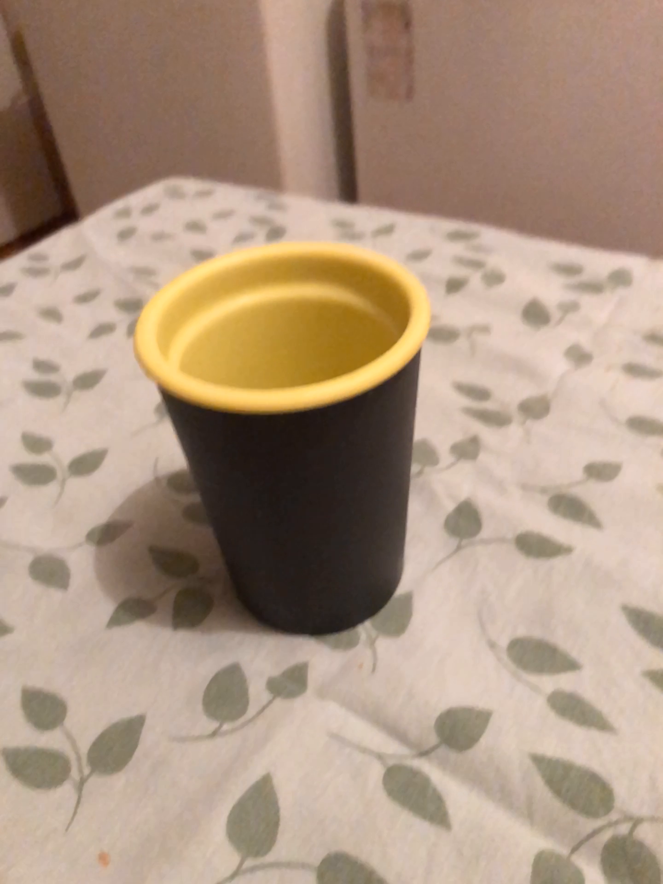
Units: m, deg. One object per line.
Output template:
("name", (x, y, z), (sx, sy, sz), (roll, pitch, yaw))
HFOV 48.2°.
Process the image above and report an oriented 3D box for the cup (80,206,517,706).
("cup", (-0.008, 0.000, 0.248), (0.090, 0.109, 0.090), (-3, 40, 3))
